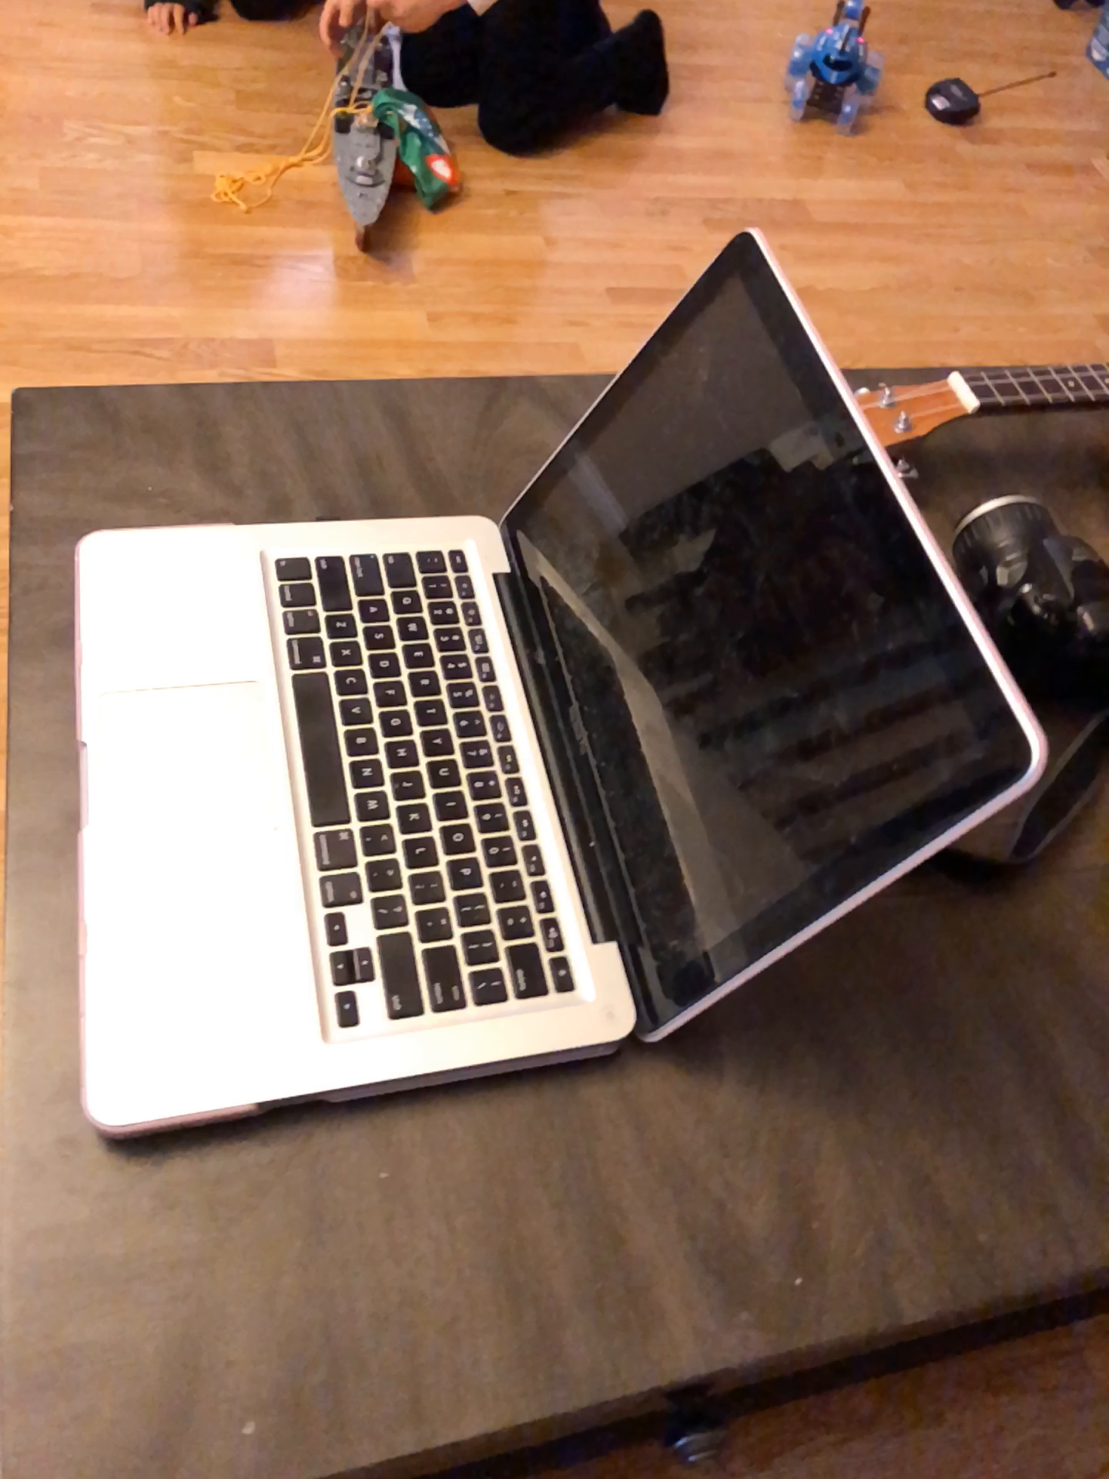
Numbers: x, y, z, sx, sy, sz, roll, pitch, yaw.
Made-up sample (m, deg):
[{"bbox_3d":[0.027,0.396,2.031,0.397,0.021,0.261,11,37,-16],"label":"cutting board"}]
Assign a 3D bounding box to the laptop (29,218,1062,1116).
[{"bbox_3d":[-0.035,-0.048,0.525,0.321,0.185,0.313,-5,55,-15],"label":"laptop"}]
